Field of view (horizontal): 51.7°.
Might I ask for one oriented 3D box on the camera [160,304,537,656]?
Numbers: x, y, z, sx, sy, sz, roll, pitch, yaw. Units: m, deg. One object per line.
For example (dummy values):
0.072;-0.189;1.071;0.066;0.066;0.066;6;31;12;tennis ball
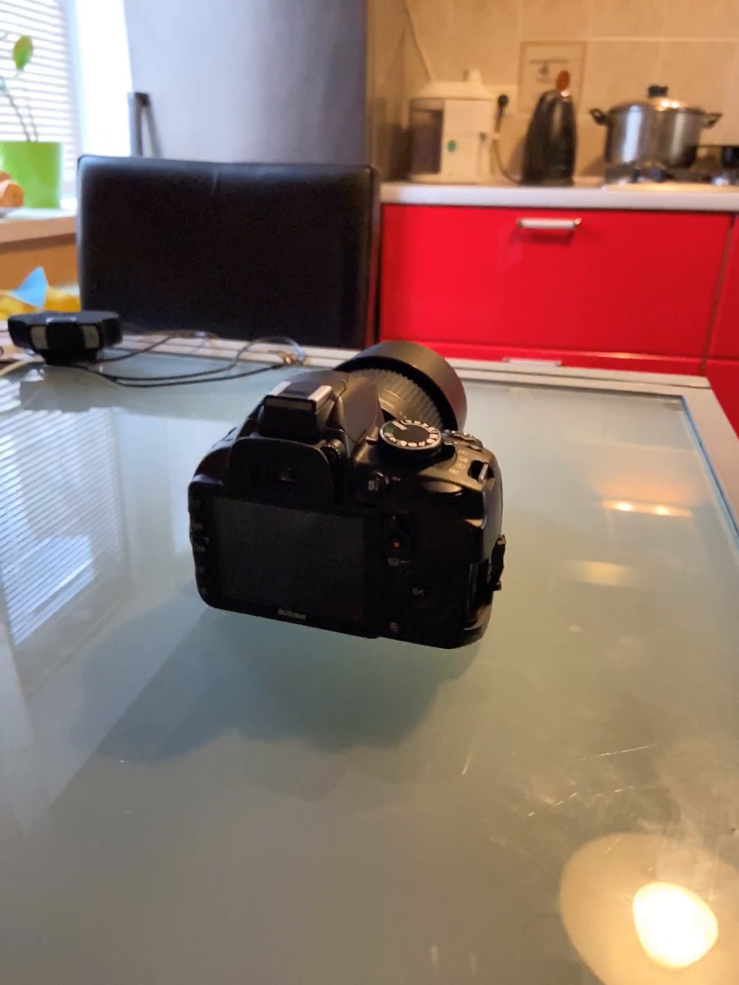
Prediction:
0.006;-0.025;0.371;0.124;0.094;0.189;7;24;14;camera
